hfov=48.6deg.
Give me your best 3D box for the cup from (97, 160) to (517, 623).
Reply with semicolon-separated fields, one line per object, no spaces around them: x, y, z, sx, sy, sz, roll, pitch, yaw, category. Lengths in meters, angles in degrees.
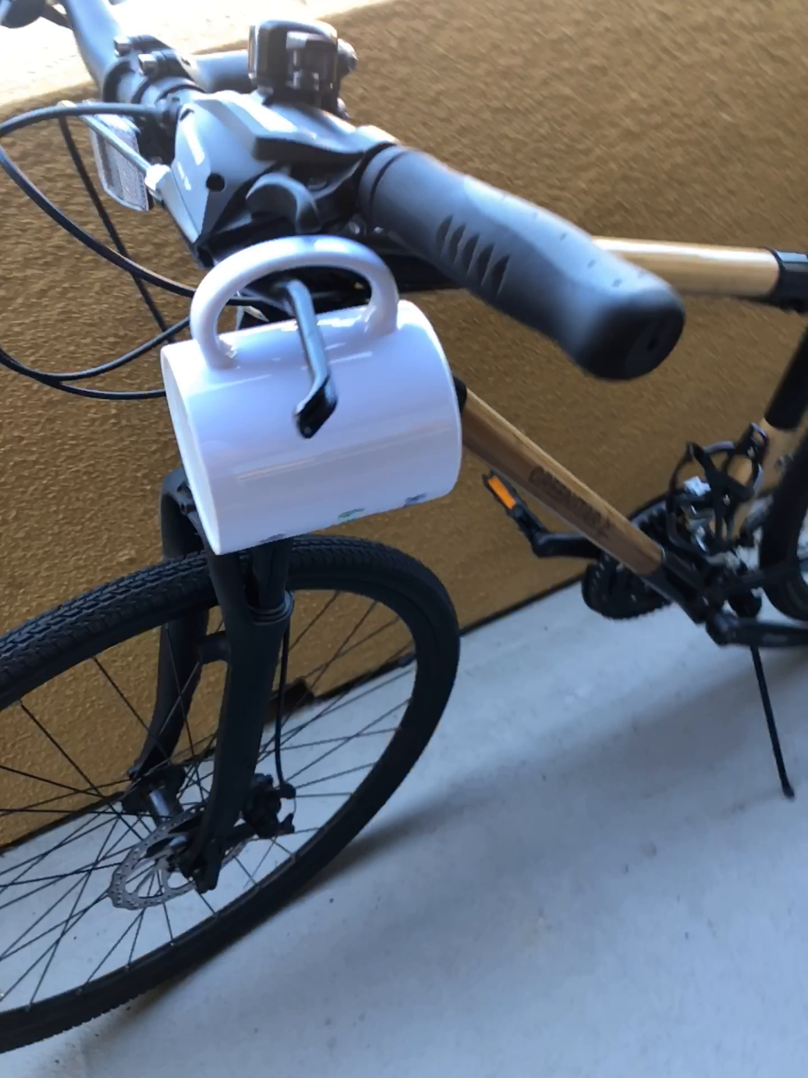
-0.034;-0.054;0.337;0.120;0.119;0.090;-14;50;-10;cup
